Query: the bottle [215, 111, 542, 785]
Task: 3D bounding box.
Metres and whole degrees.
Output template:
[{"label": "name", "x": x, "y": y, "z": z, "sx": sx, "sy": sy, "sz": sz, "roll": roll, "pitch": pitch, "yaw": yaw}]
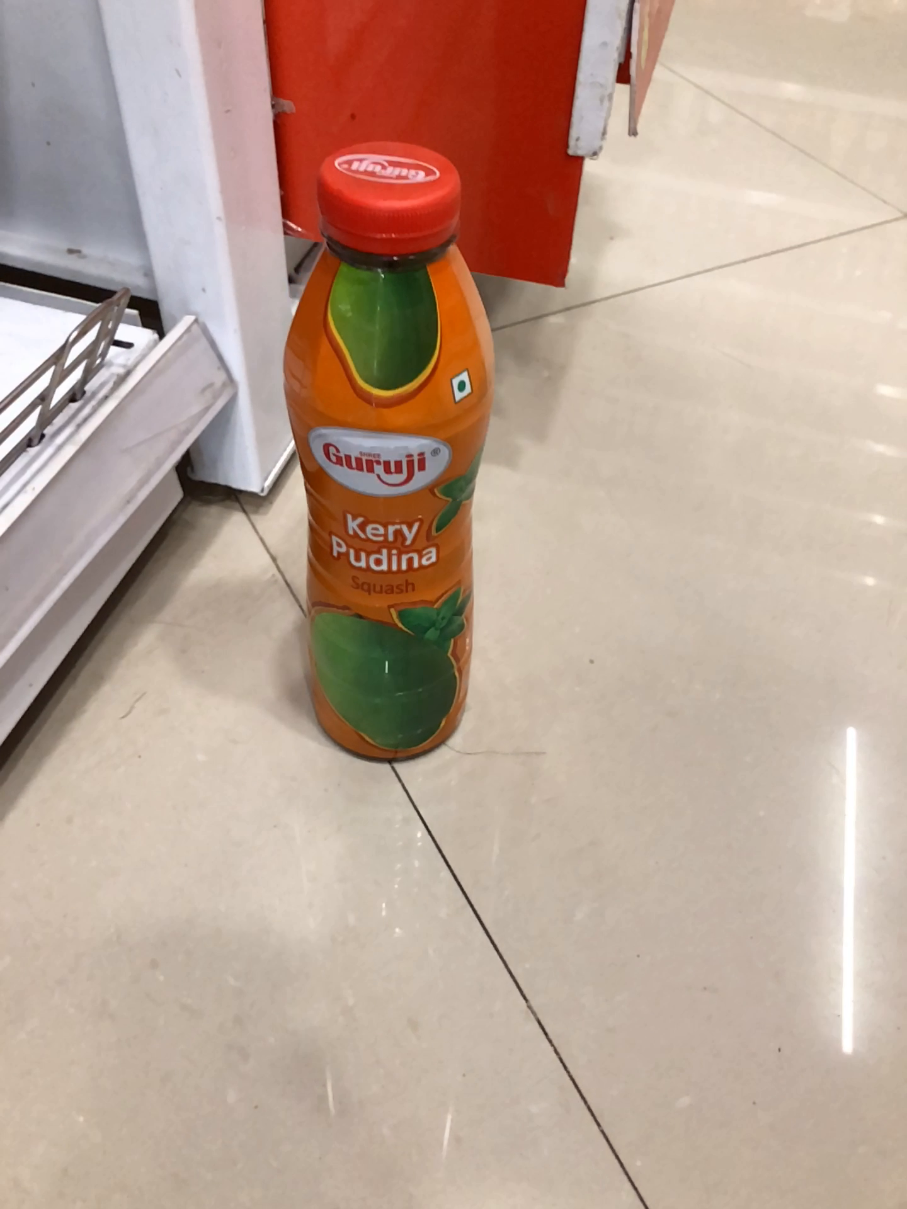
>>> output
[{"label": "bottle", "x": -0.021, "y": -0.035, "z": 0.361, "sx": 0.080, "sy": 0.238, "sz": 0.081, "roll": 2, "pitch": 48, "yaw": -2}]
